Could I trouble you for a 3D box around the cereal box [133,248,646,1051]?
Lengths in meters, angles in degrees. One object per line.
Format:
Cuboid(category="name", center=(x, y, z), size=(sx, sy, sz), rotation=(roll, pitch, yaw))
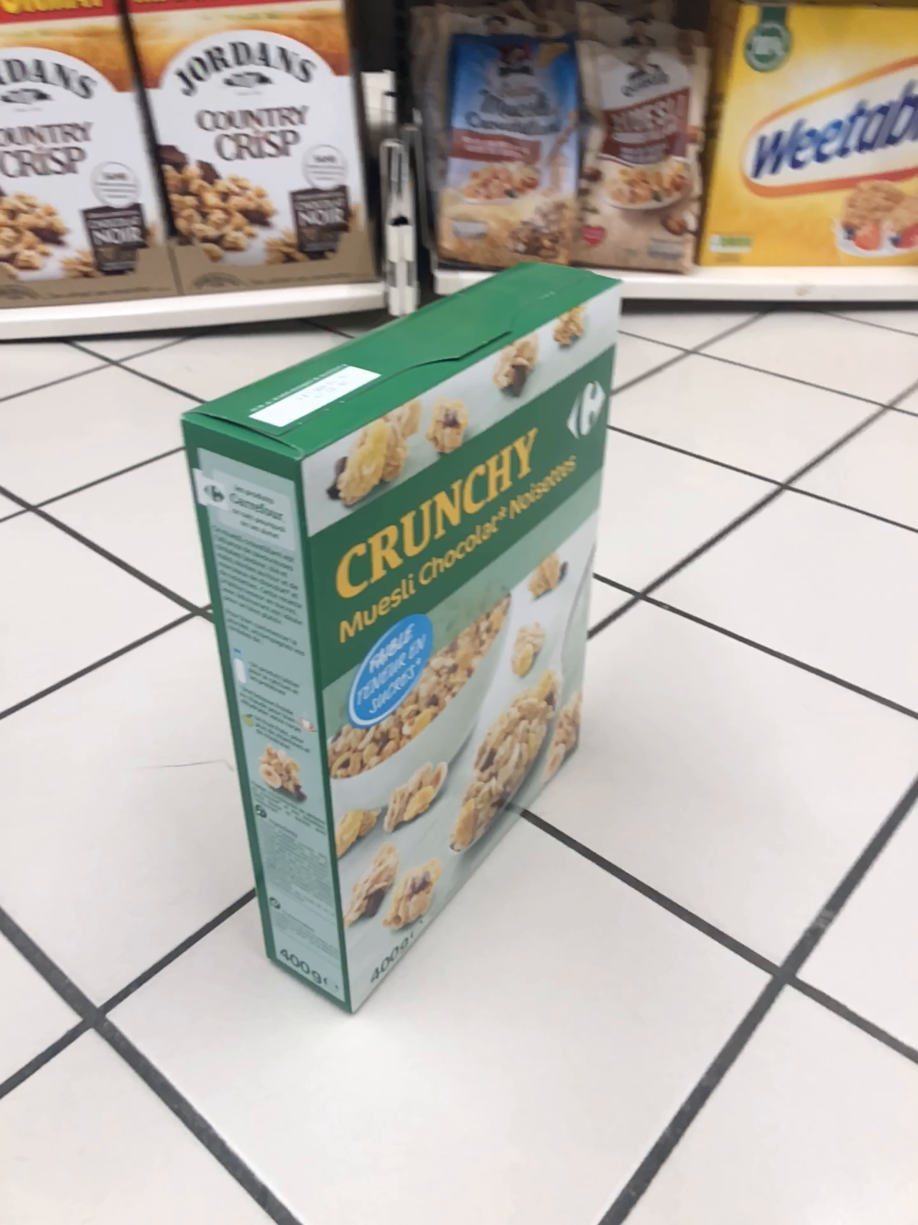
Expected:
Cuboid(category="cereal box", center=(-0.009, 0.010, 0.402), size=(0.060, 0.248, 0.201), rotation=(21, 39, 27))
